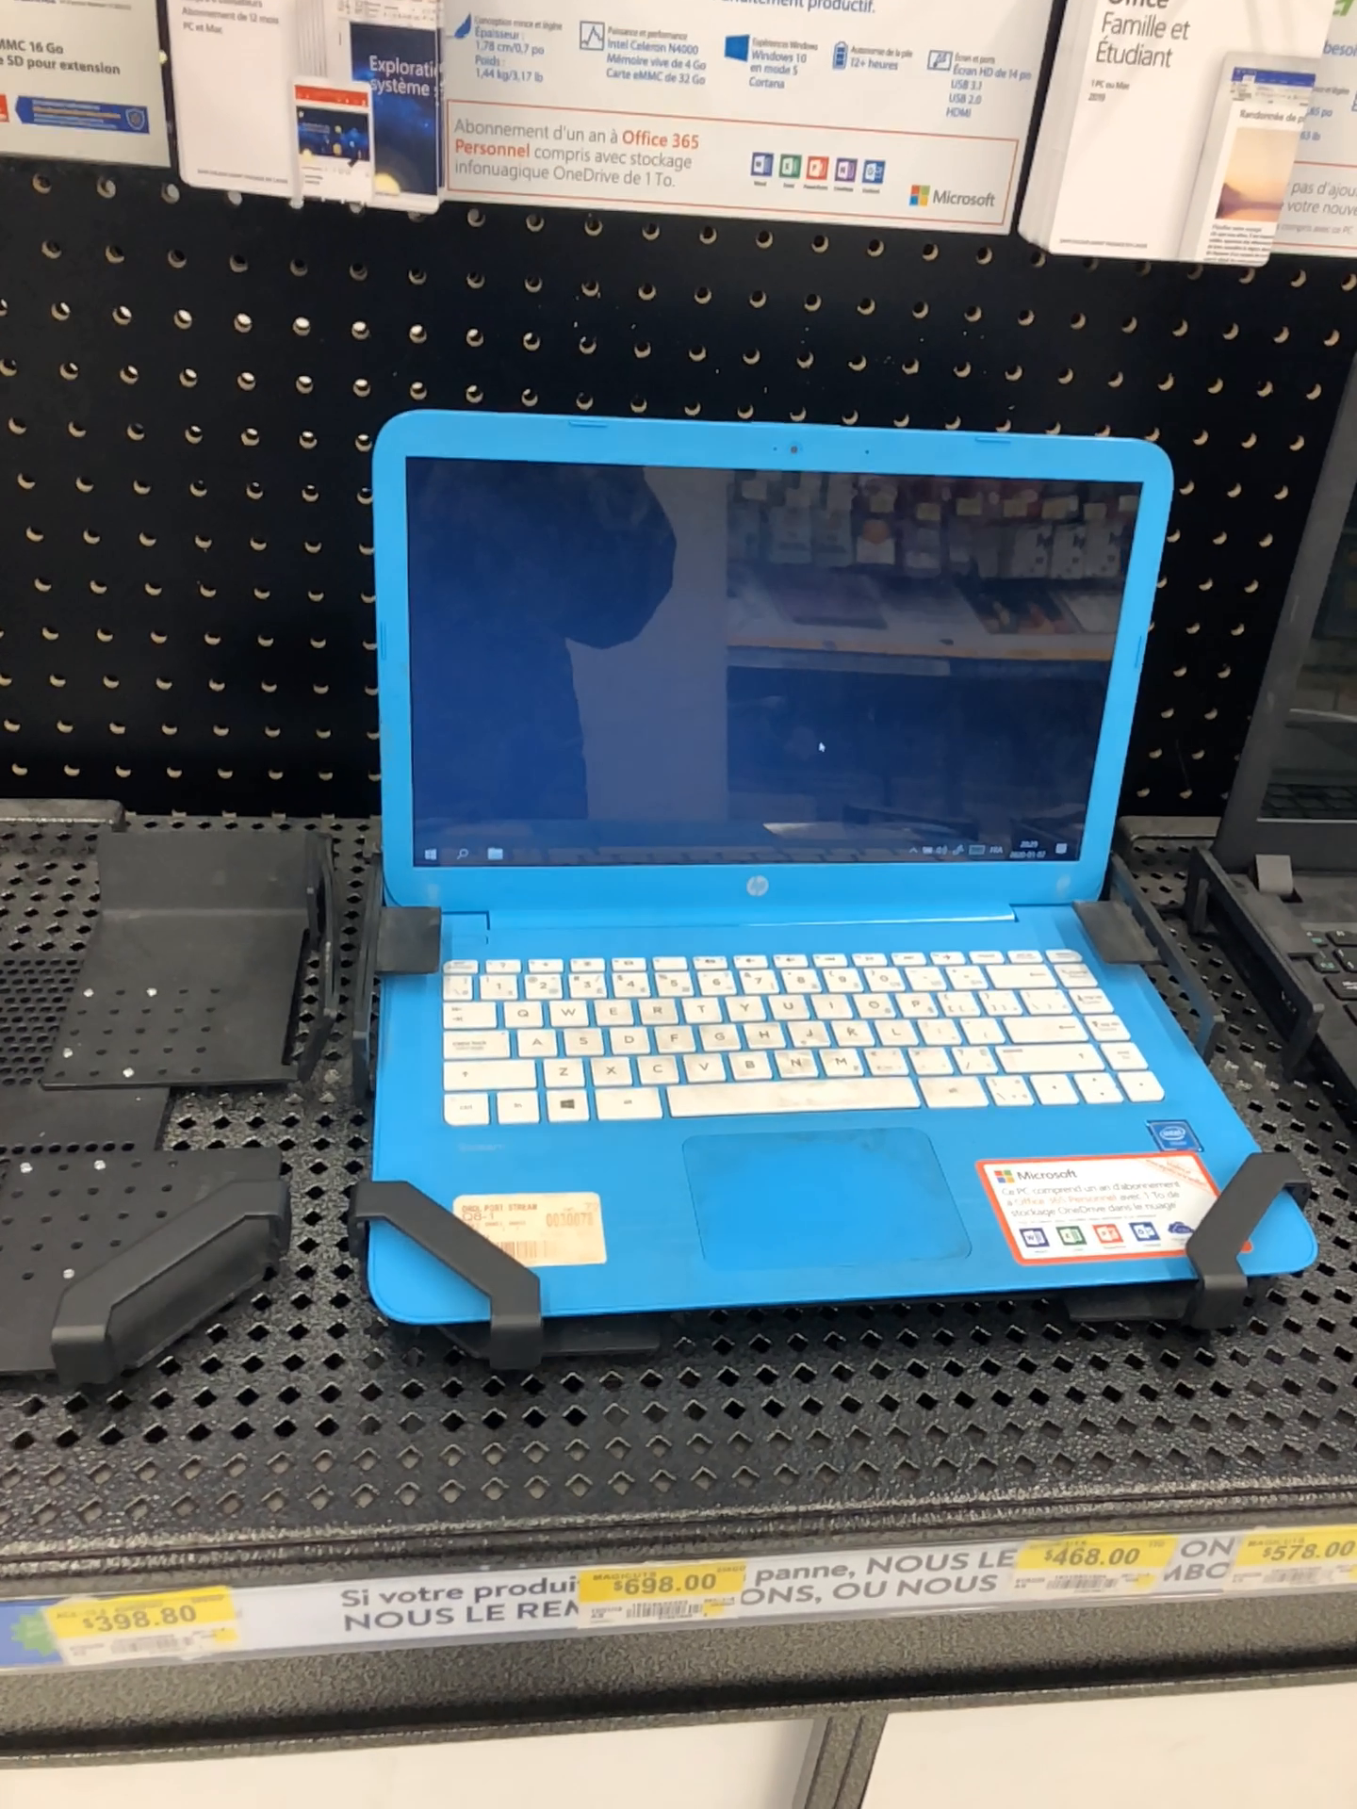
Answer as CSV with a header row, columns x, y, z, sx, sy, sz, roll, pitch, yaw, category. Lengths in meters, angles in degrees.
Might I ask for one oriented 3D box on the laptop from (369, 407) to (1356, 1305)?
x,y,z,sx,sy,sz,roll,pitch,yaw,category
0.054,-0.034,0.552,0.319,0.197,0.270,-1,36,-8,laptop
